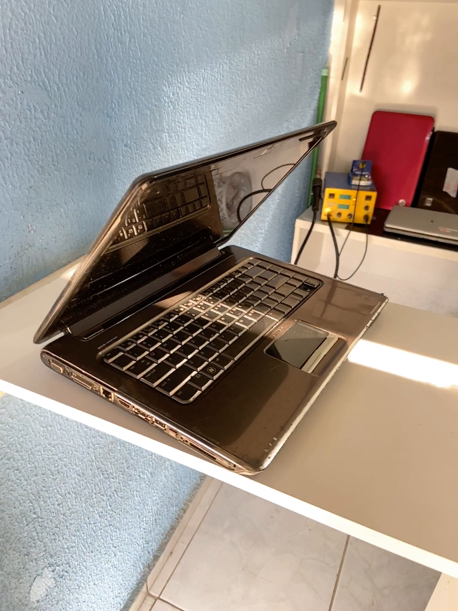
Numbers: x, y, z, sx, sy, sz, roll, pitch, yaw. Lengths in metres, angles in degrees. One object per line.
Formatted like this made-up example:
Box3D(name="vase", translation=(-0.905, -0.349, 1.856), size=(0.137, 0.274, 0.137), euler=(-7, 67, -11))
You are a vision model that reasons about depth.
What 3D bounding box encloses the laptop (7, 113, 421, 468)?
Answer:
Box3D(name="laptop", translation=(0.015, -0.068, 0.496), size=(0.245, 0.190, 0.345), euler=(20, 34, 27))
